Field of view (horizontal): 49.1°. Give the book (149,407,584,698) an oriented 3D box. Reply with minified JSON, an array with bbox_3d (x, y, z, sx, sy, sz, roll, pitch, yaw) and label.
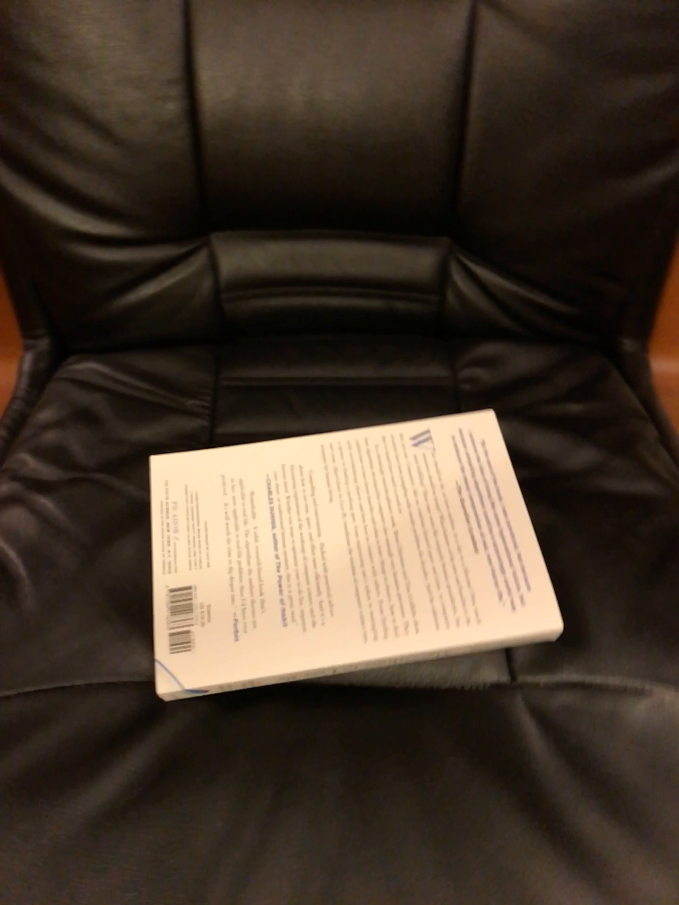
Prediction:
[{"bbox_3d":[0.007,0.055,0.475,0.250,0.020,0.161,-7,56,-4],"label":"book"}]
